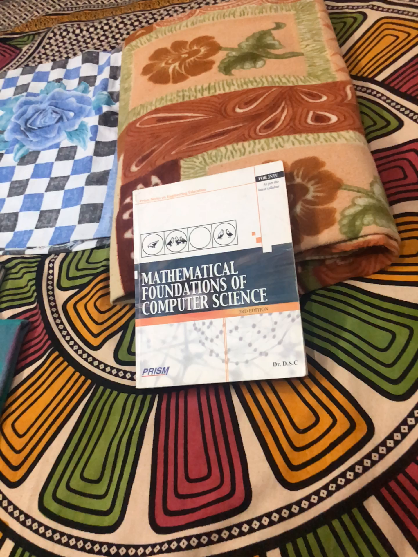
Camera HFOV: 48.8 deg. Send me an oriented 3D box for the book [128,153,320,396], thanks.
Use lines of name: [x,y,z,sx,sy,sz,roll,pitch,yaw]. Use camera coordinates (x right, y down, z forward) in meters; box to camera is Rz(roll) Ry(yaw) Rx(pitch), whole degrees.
book: [0.009,-0.001,0.516,0.190,0.060,0.240,-9,71,16]
